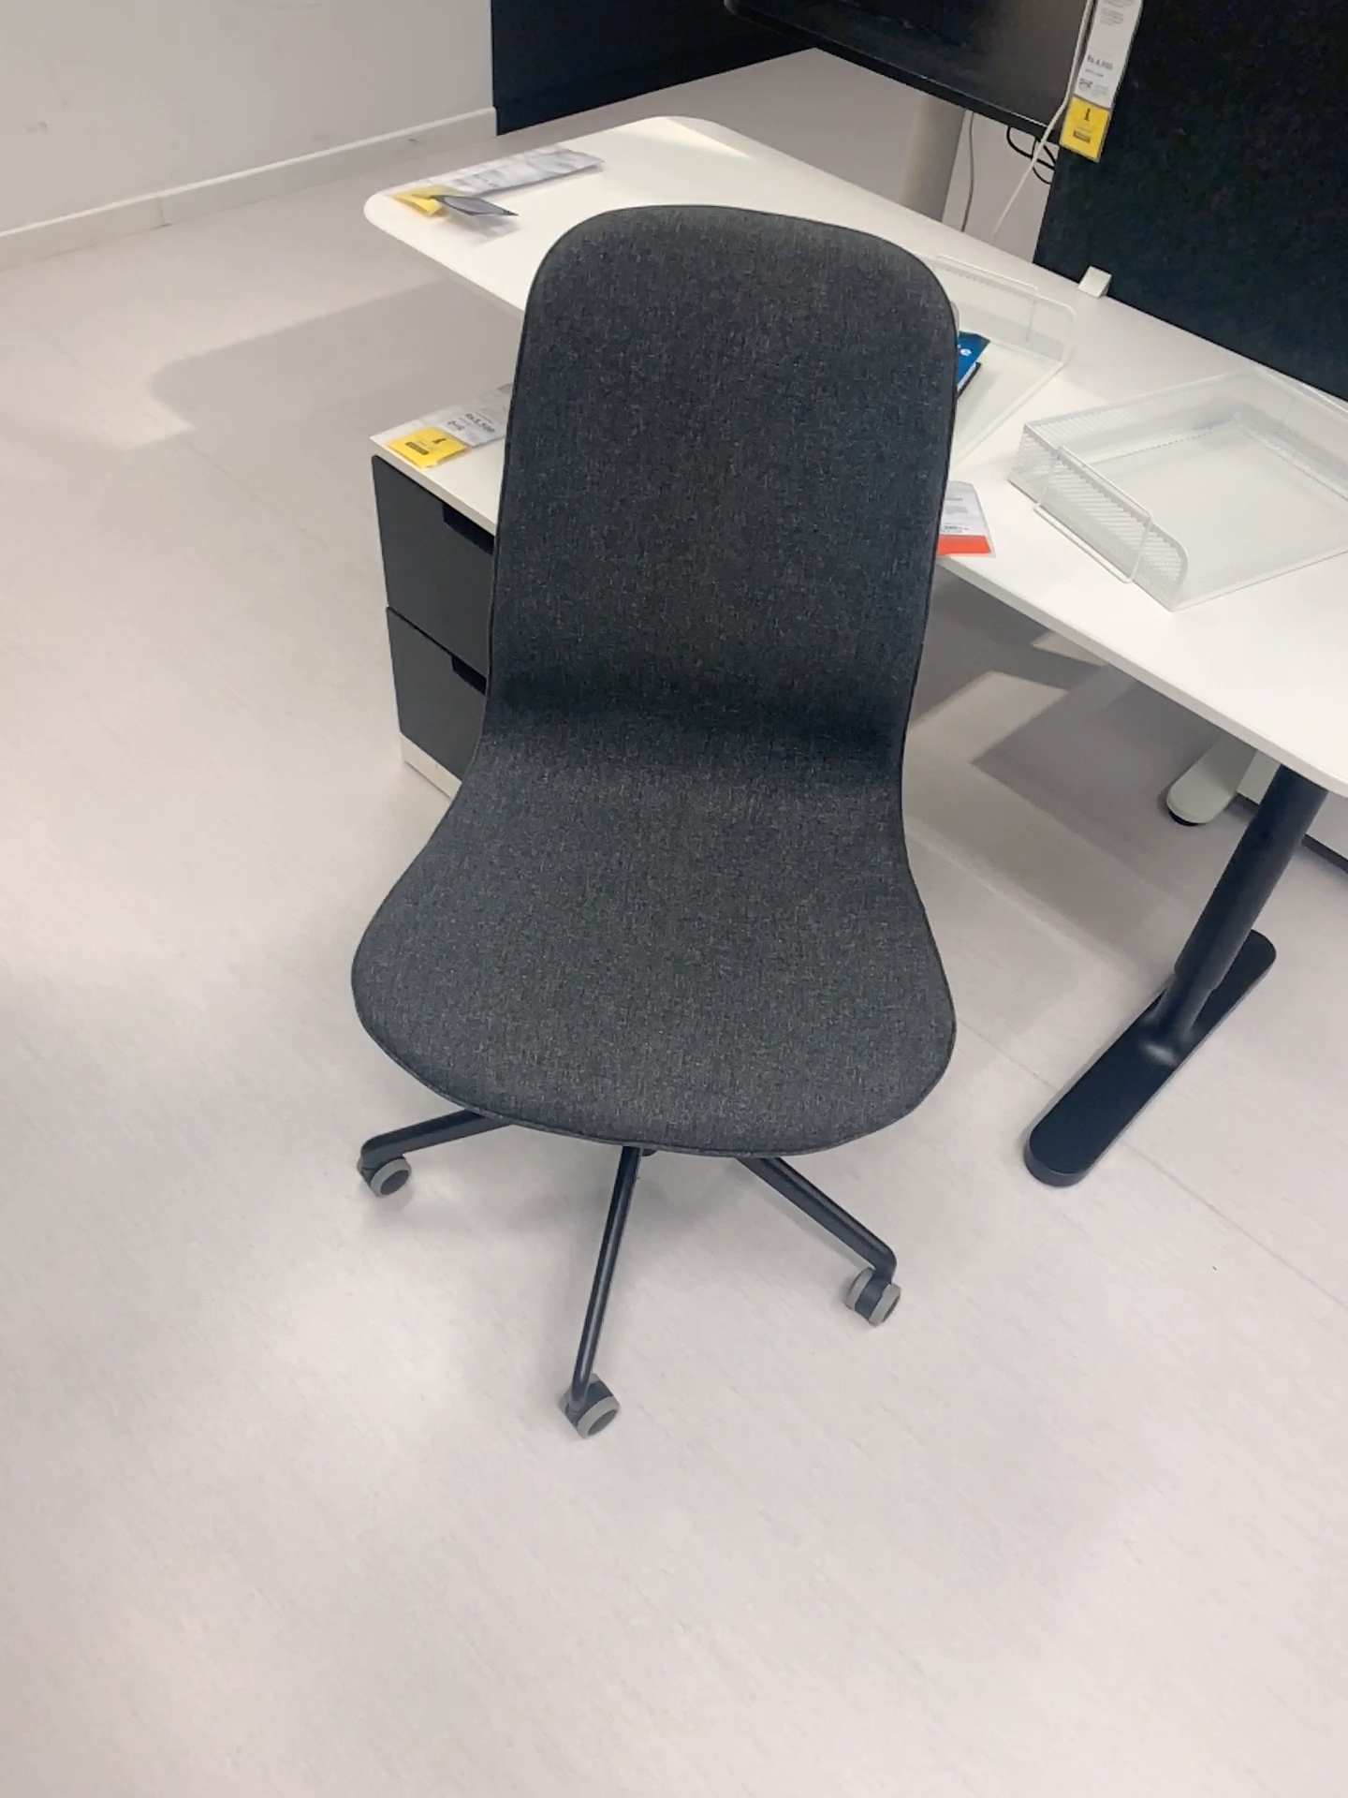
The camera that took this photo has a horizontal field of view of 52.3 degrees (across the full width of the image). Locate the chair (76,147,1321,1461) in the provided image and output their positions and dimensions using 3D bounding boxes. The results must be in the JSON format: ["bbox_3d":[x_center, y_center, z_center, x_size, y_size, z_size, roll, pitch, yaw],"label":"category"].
[{"bbox_3d":[-0.006,-0.015,1.275,0.630,0.996,0.642,5,47,-1],"label":"chair"}]
